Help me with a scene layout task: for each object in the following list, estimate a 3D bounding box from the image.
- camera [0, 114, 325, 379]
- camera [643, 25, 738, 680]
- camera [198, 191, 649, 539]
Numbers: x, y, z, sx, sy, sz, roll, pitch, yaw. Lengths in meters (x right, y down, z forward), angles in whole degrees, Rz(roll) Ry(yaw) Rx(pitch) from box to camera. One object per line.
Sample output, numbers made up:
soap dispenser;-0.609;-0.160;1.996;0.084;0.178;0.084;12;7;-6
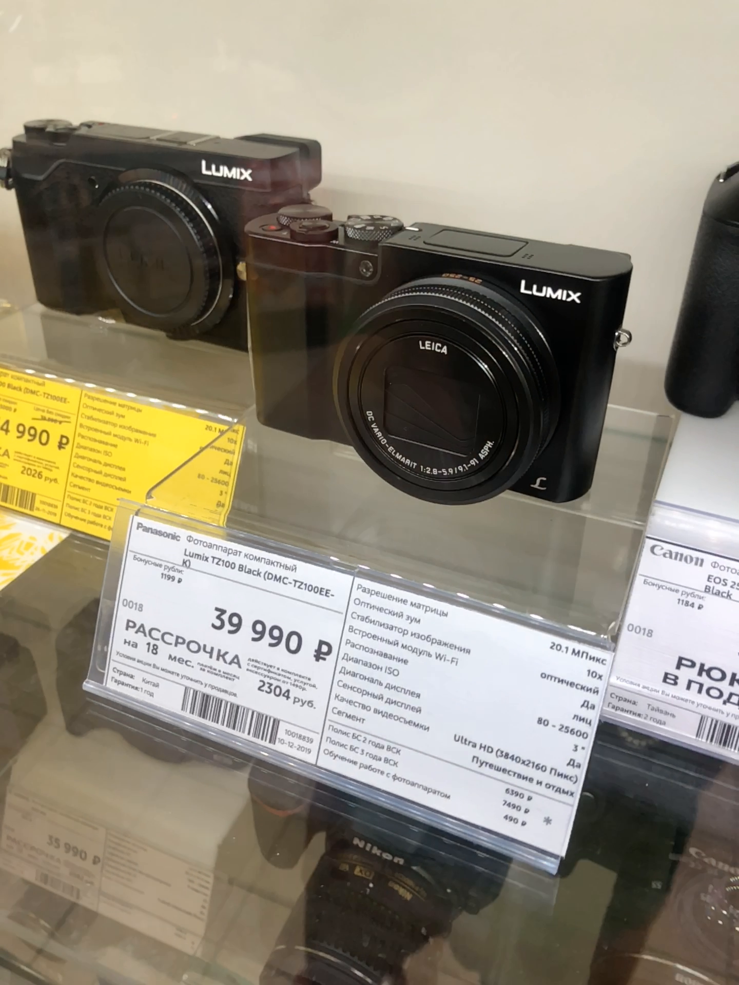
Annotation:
camera;-0.077;-0.095;0.307;0.108;0.068;0.055;15;36;20
camera;0.181;-0.063;0.234;0.157;0.099;0.164;15;38;19
camera;0.012;-0.039;0.233;0.111;0.068;0.038;15;36;20
